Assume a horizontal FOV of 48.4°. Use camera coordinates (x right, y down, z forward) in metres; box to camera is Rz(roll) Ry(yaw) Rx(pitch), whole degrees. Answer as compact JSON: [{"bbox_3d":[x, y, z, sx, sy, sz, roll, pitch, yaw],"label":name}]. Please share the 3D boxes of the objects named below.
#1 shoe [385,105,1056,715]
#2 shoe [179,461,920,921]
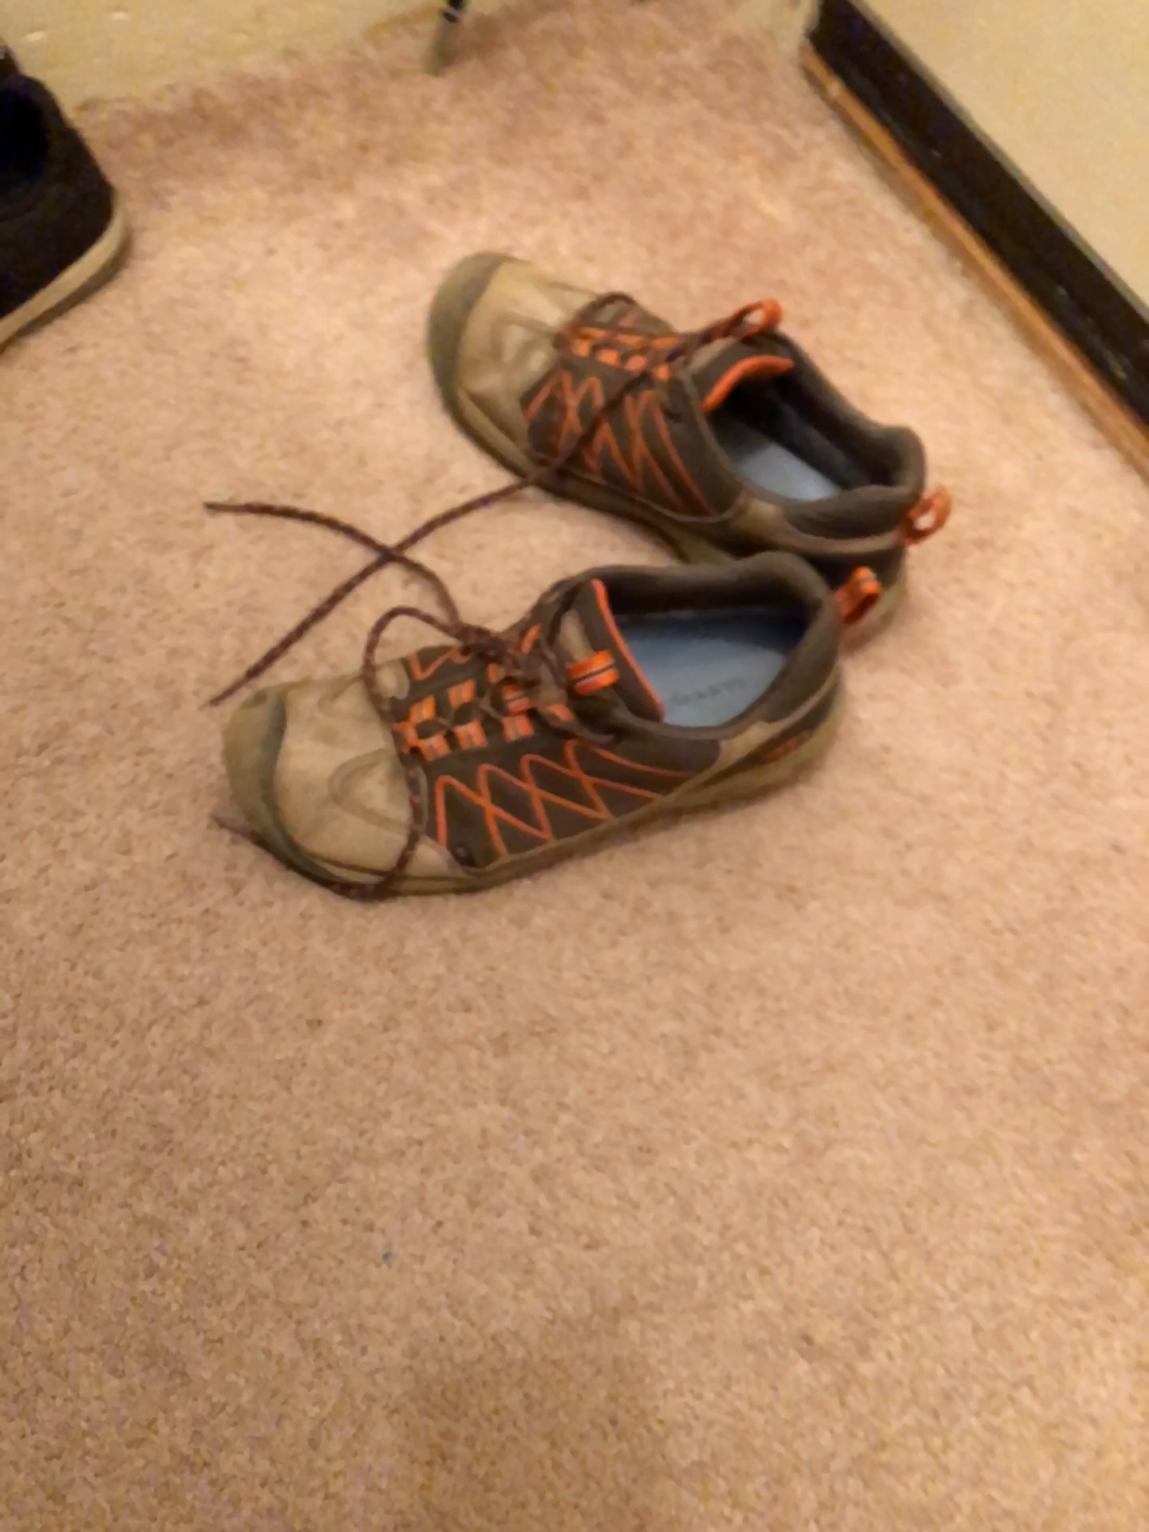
[{"bbox_3d":[0.062,-0.180,0.656,0.300,0.130,0.120,34,67,9],"label":"shoe"},{"bbox_3d":[-0.016,-0.030,0.552,0.270,0.130,0.120,-8,67,-10],"label":"shoe"}]
